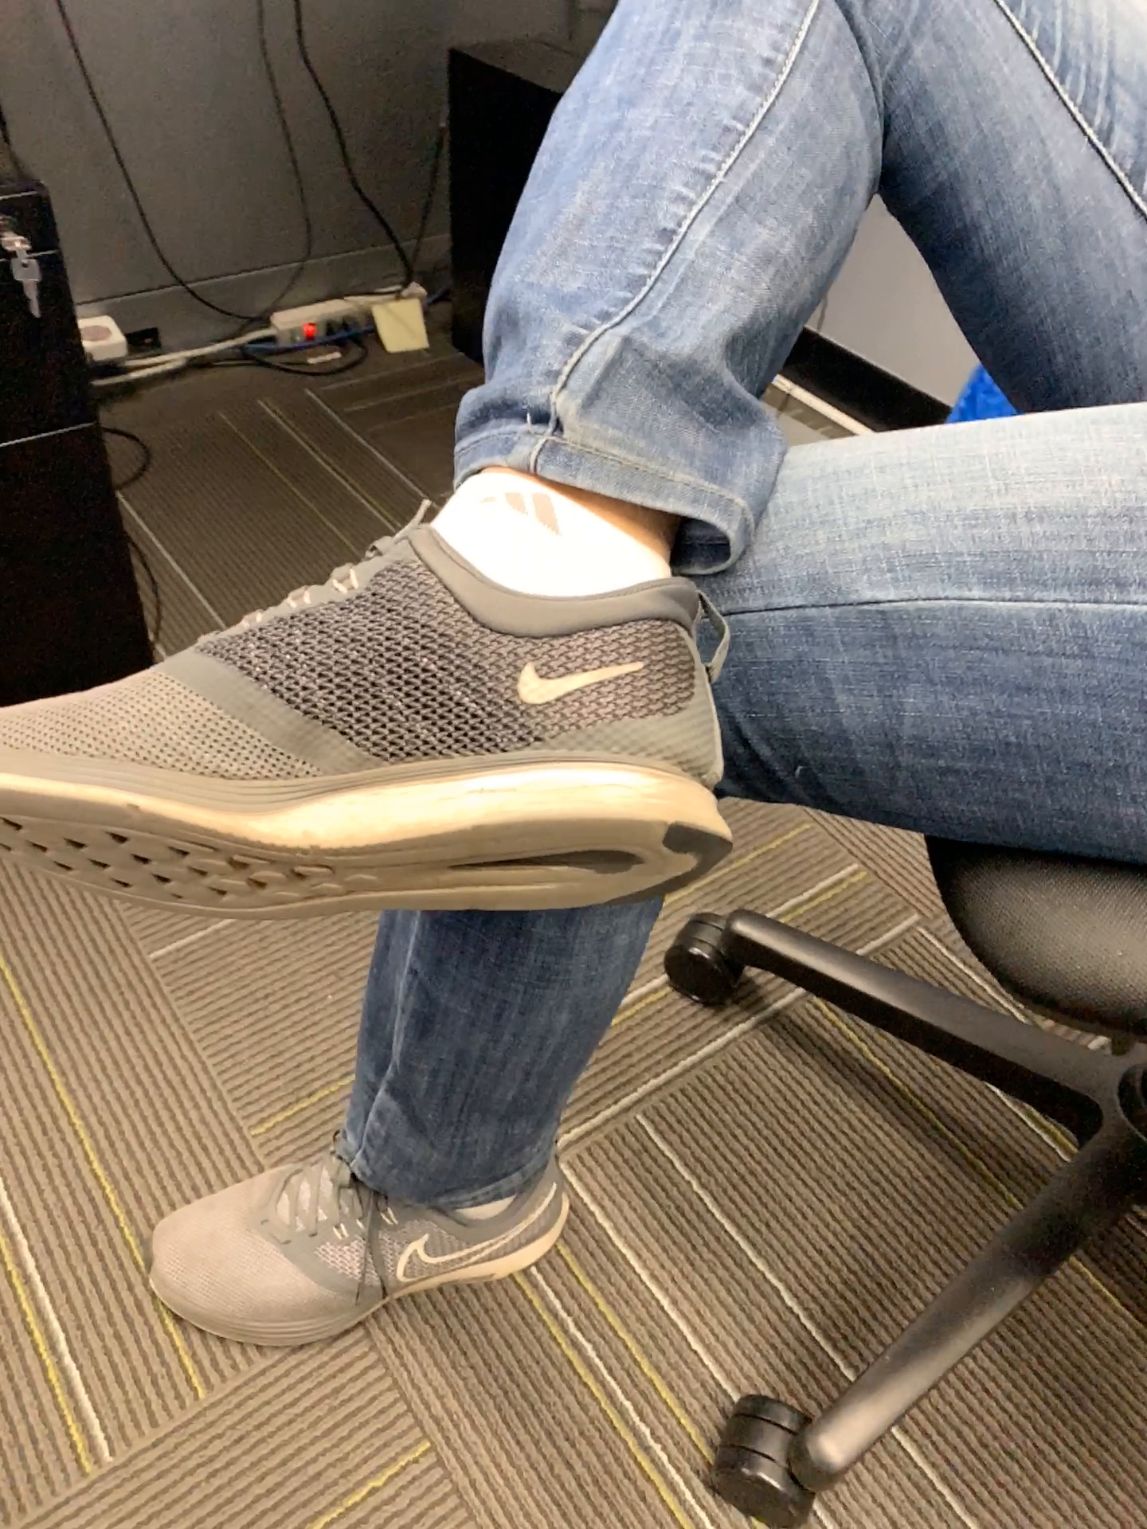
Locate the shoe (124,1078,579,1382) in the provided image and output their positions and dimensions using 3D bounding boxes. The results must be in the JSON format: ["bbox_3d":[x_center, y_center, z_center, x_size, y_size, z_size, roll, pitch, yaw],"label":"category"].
[{"bbox_3d":[-0.152,0.320,0.818,0.287,0.092,0.114,-8,46,-13],"label":"shoe"}]

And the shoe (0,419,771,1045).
[{"bbox_3d":[-0.090,-0.013,0.424,0.295,0.120,0.134,10,48,2],"label":"shoe"}]
